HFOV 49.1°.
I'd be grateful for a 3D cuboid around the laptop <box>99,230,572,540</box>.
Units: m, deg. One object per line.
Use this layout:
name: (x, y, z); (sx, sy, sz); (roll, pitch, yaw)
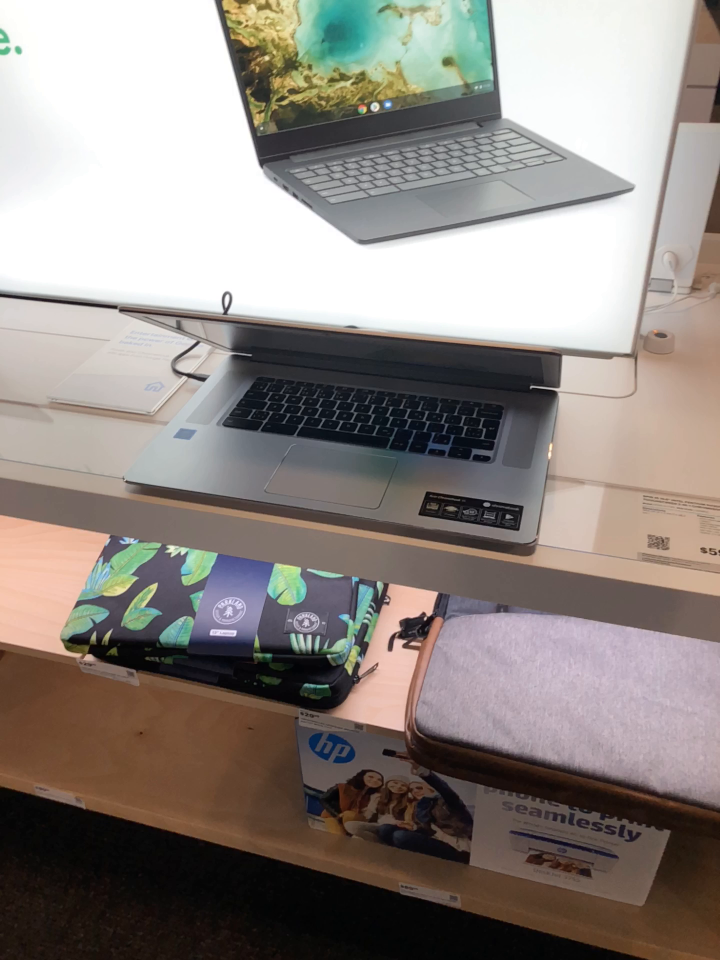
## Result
laptop: (-0.003, -0.104, 0.736); (0.365, 0.146, 0.231); (8, 39, 11)
